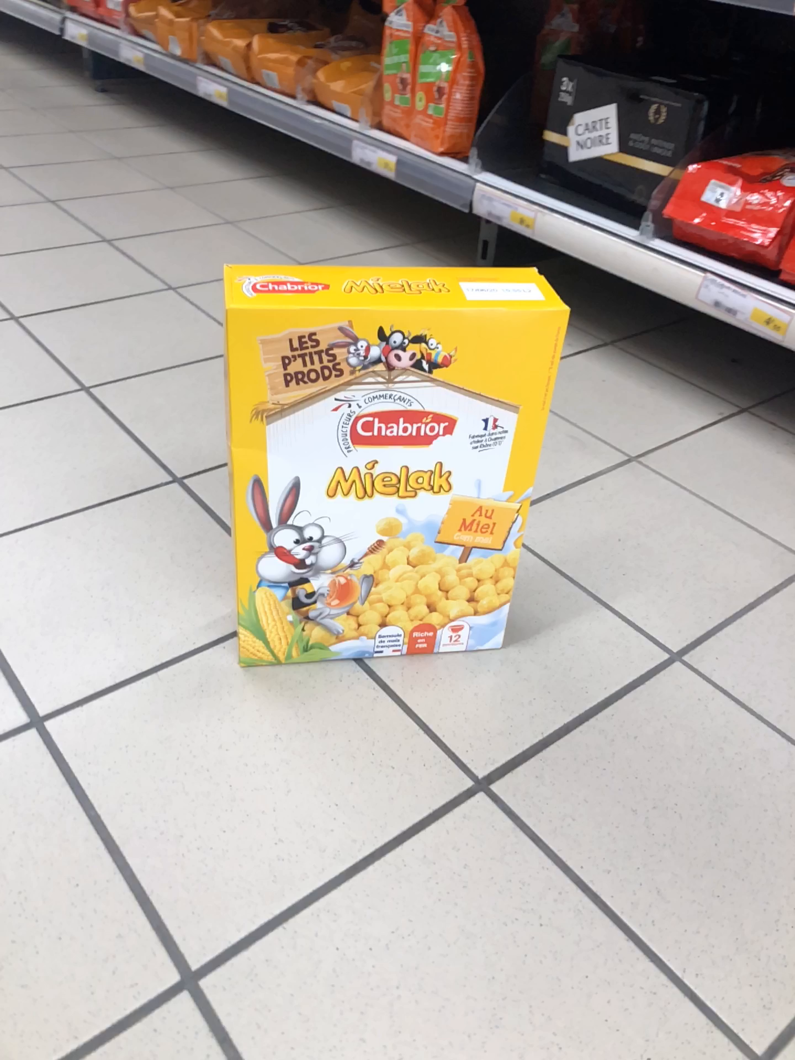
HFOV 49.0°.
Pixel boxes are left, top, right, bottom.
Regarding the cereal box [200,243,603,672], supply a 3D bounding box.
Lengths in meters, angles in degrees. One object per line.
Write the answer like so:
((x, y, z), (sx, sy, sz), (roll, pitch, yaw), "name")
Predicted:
((-0.010, -0.036, 0.547), (0.210, 0.258, 0.070), (-2, 36, -12), "cereal box")
